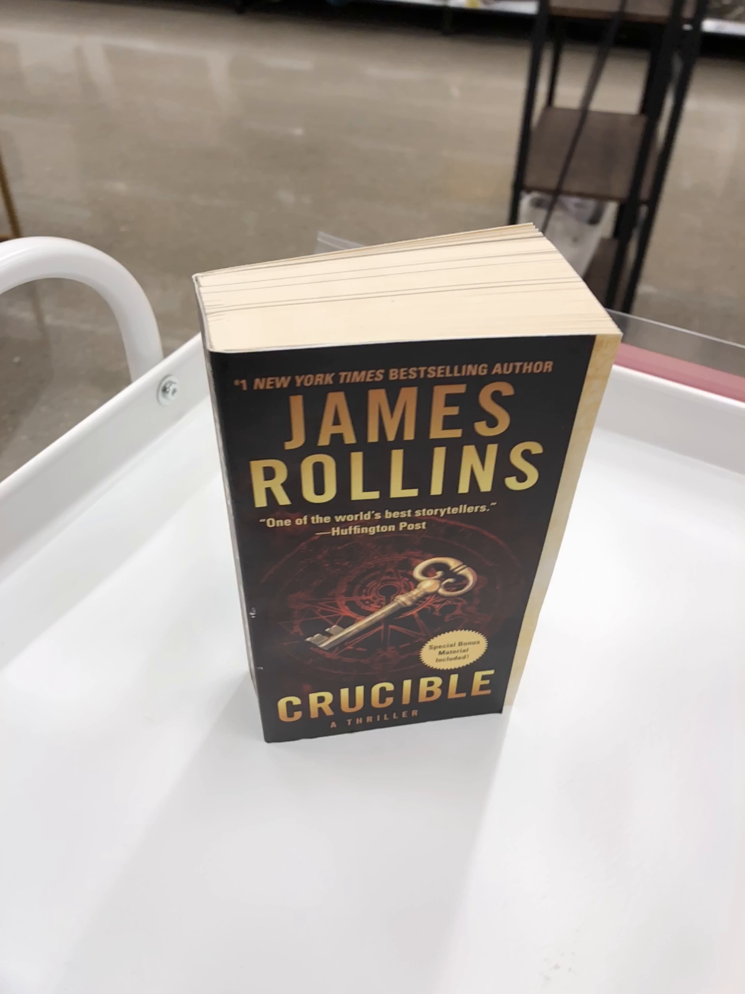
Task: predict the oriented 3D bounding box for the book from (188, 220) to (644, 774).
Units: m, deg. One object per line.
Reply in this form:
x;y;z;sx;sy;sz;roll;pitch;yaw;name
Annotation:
0.006;0.010;0.291;0.112;0.184;0.066;-7;44;-10;book
